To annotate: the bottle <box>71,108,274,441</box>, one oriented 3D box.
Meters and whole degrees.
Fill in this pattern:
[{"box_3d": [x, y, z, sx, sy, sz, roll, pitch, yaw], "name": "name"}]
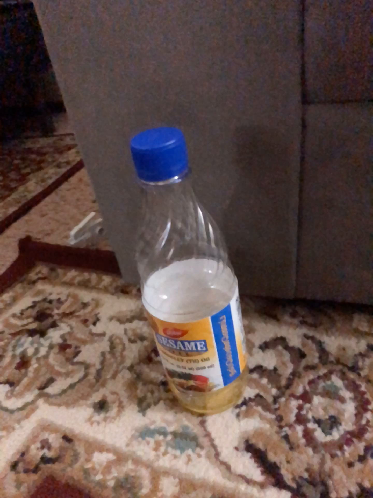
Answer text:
[{"box_3d": [0.006, 0.023, 0.266, 0.070, 0.199, 0.070, -9, 31, 5], "name": "bottle"}]
